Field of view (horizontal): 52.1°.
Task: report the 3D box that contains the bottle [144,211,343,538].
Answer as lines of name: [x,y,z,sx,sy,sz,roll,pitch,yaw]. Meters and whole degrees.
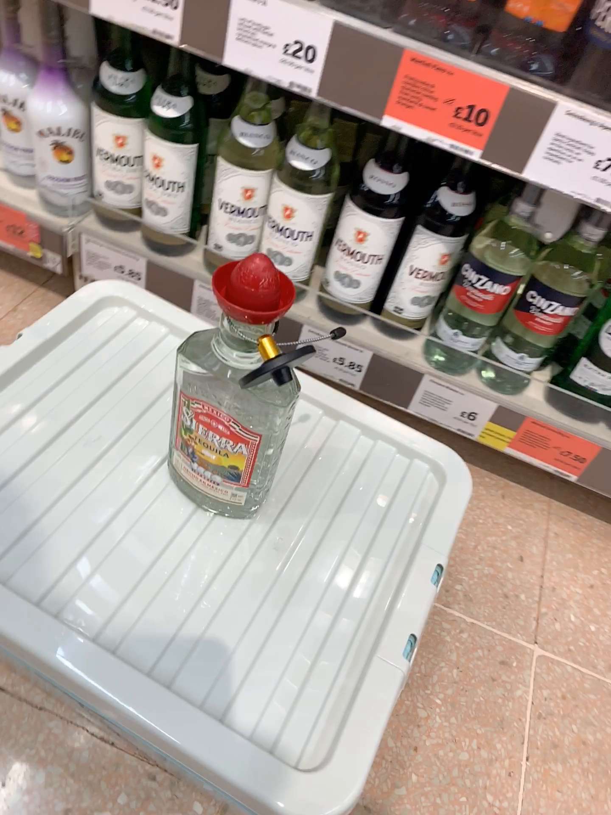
bottle: [-0.059,-0.009,0.470,0.103,0.240,0.058,29,48,11]
